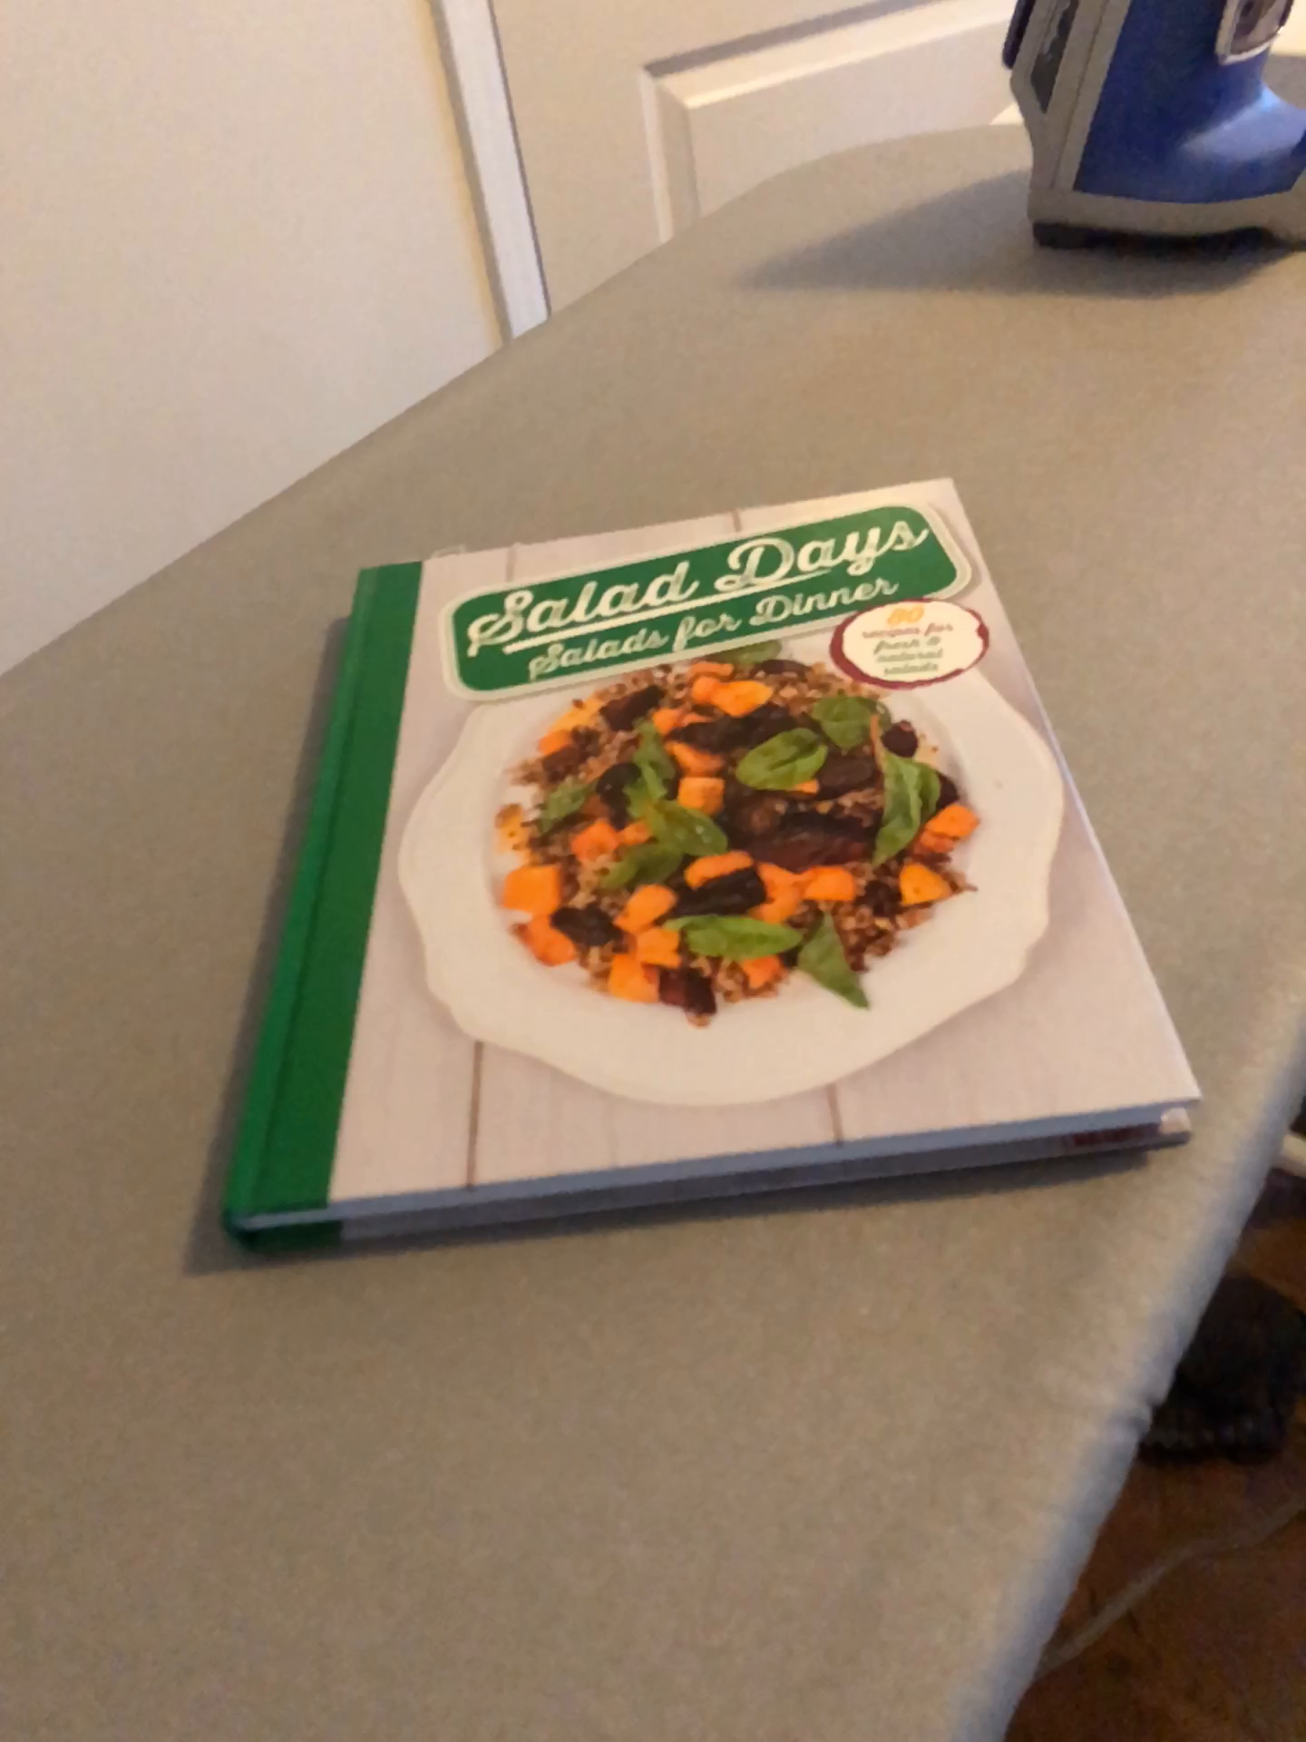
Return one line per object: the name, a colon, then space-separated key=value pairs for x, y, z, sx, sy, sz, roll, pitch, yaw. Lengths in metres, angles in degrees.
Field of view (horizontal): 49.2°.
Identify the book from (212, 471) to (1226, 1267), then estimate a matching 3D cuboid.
book: x=0.007 y=-0.025 z=0.407 sx=0.213 sy=0.020 sz=0.276 roll=-7 pitch=42 yaw=3
